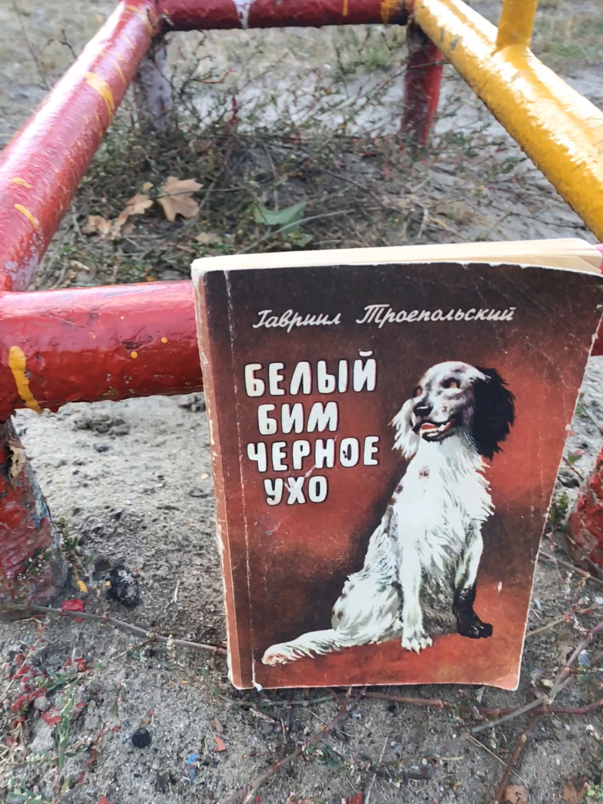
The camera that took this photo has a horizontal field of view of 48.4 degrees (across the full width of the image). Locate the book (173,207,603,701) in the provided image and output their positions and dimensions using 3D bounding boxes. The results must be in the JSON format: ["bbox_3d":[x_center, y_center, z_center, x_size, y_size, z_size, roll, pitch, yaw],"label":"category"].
[{"bbox_3d":[0.034,0.034,0.244,0.130,0.196,0.030,-2,33,0],"label":"book"}]
